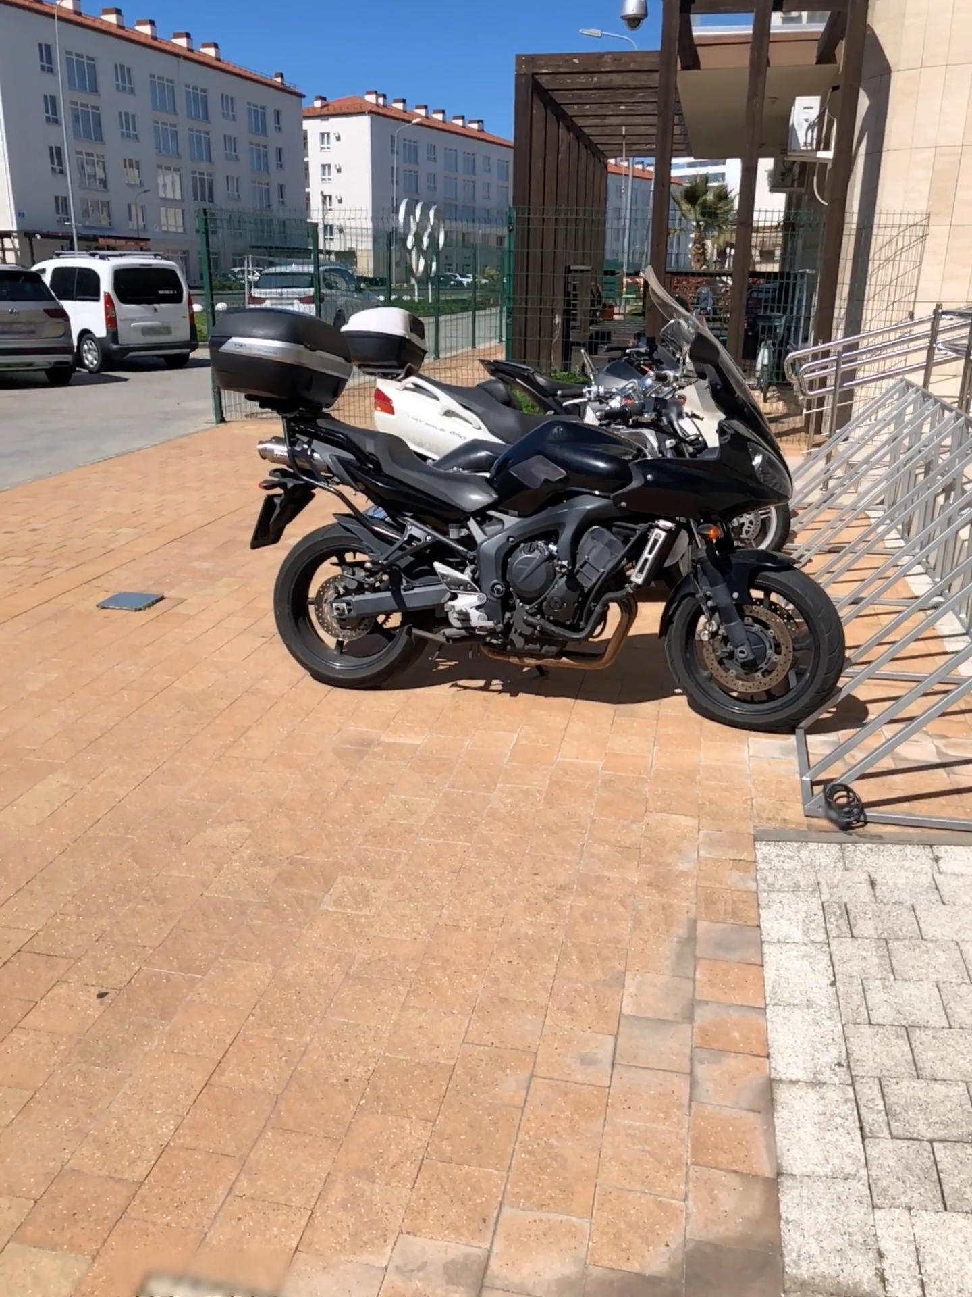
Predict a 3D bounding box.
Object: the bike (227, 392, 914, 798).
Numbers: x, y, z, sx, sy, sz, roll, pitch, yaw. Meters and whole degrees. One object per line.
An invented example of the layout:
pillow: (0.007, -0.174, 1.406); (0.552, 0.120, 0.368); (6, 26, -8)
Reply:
bike: (0.145, -0.243, 3.374); (1.919, 1.003, 0.607); (5, 18, 13)
